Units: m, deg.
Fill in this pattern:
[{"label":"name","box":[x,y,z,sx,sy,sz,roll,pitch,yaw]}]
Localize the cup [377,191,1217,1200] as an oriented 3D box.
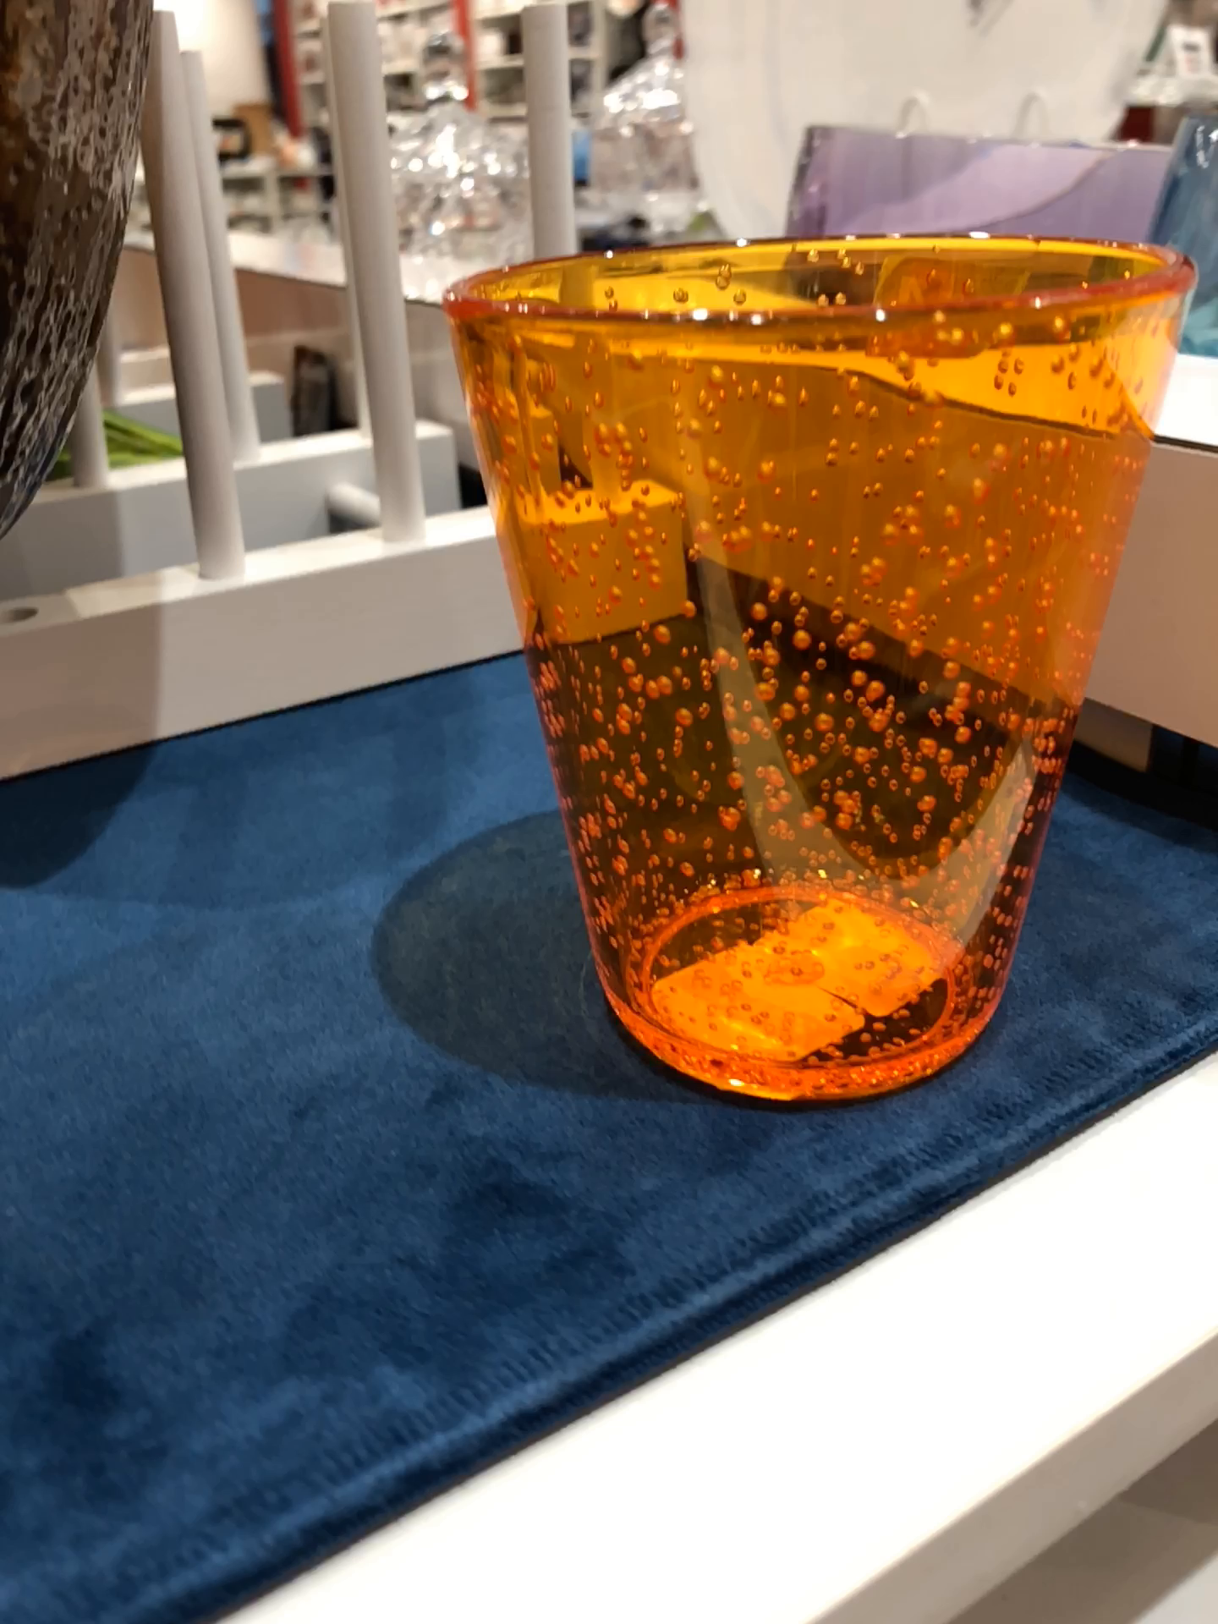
[{"label":"cup","box":[0.030,-0.025,0.167,0.070,0.090,0.080,22,35,39]}]
